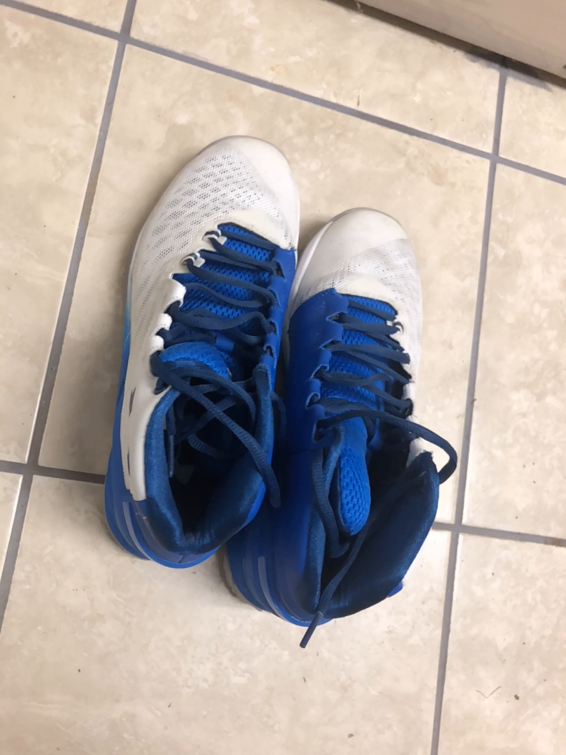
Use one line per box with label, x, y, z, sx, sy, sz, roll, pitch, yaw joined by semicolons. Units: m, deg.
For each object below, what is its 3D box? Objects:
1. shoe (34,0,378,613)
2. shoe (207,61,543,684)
shoe;-0.043;-0.038;0.378;0.120;0.100;0.310;14;79;-14
shoe;0.056;-0.003;0.399;0.120;0.130;0.322;15;76;-14
